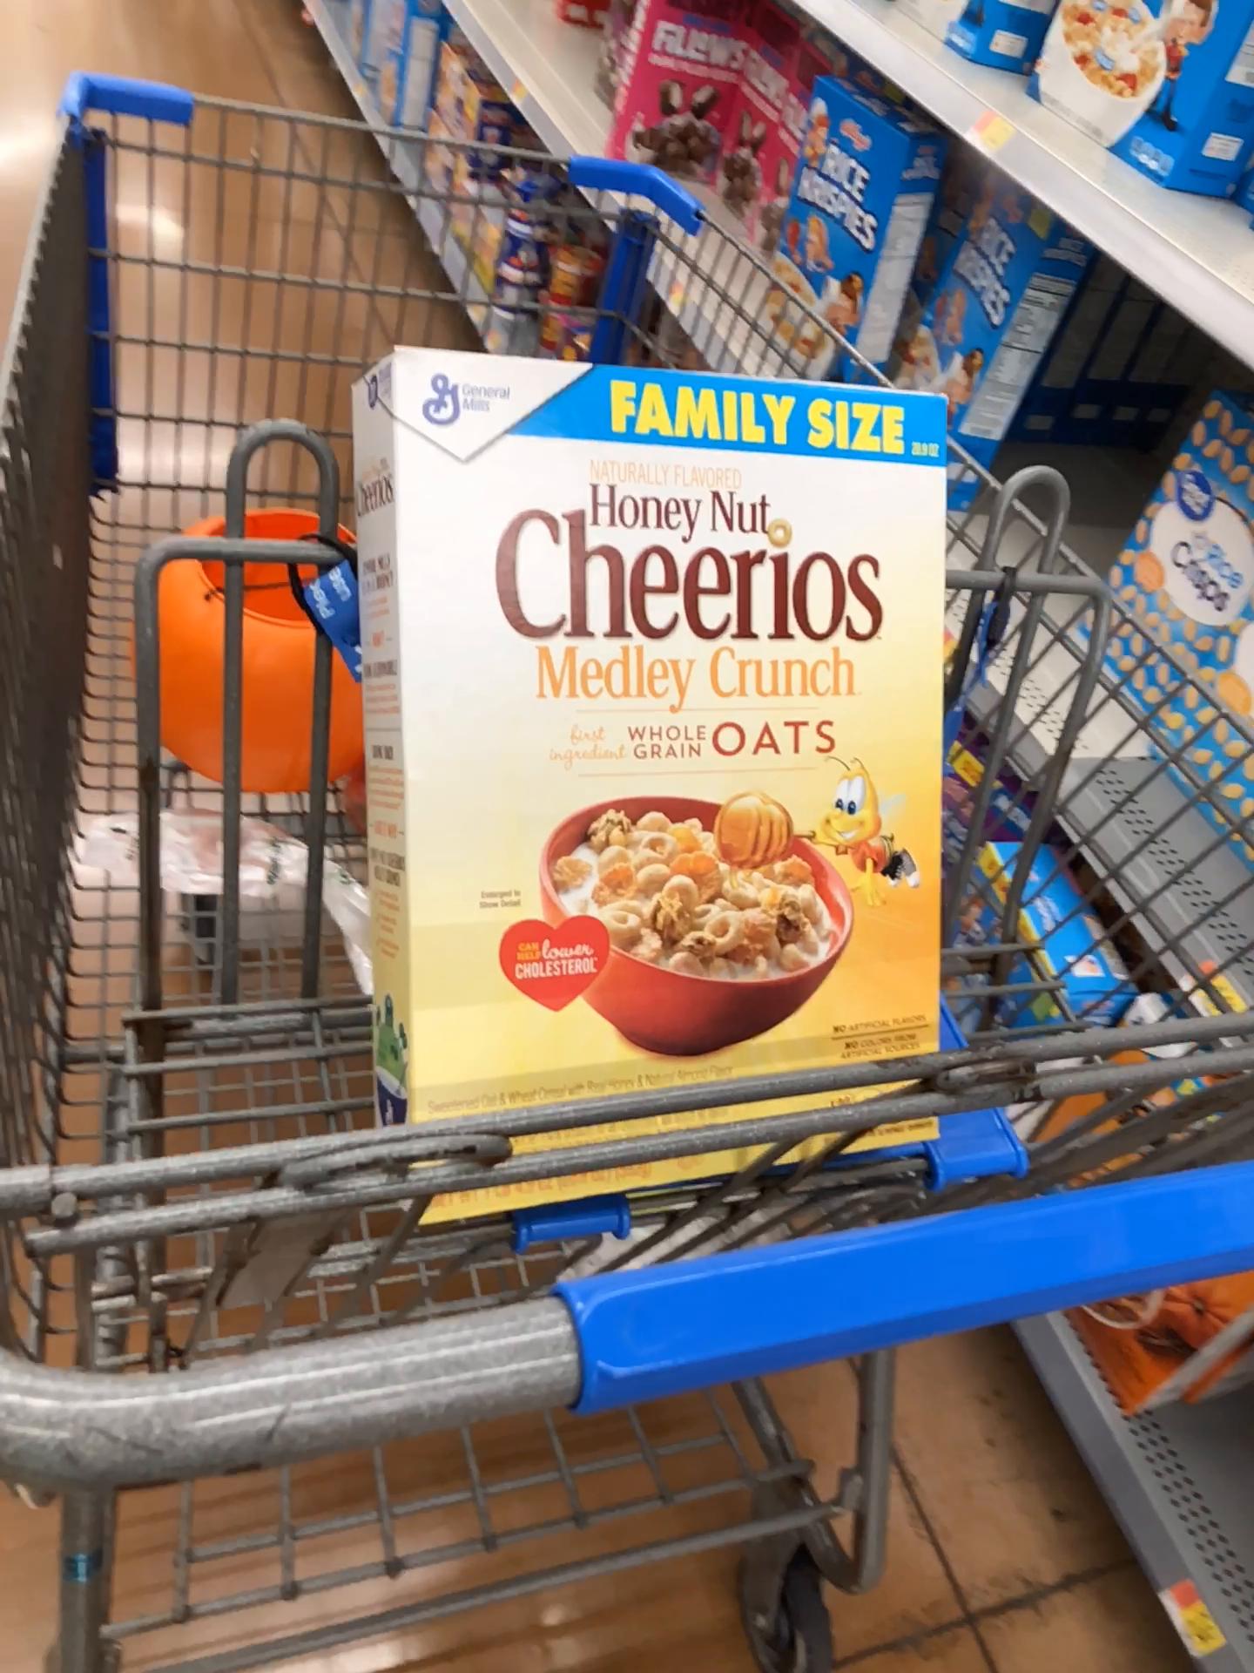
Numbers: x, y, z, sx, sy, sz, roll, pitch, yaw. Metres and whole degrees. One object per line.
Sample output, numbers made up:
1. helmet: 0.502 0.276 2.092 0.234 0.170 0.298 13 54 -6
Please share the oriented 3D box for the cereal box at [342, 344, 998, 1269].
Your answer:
1. cereal box: 0.024 -0.016 0.559 0.250 0.320 0.070 -4 4 -24
